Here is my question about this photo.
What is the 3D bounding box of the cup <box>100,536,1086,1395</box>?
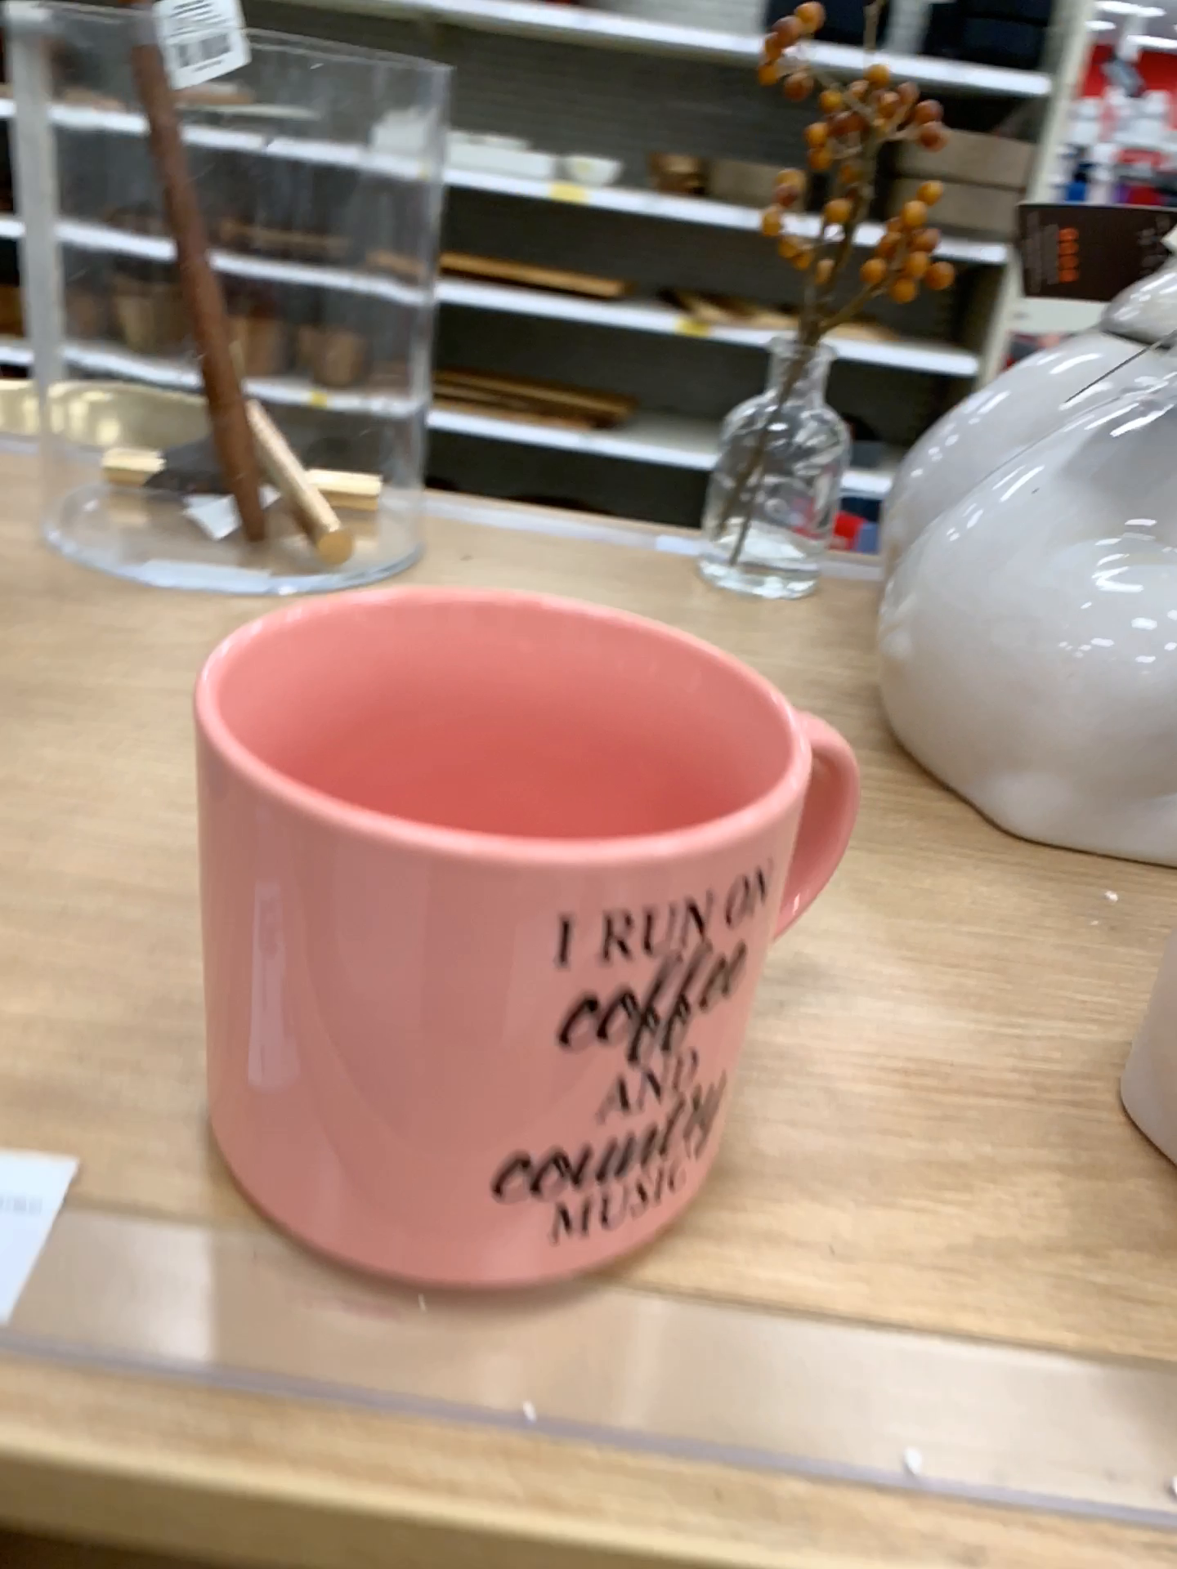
[{"bbox_3d":[-0.006,0.015,0.225,0.133,0.085,0.104,-10,33,-30],"label":"cup"}]
